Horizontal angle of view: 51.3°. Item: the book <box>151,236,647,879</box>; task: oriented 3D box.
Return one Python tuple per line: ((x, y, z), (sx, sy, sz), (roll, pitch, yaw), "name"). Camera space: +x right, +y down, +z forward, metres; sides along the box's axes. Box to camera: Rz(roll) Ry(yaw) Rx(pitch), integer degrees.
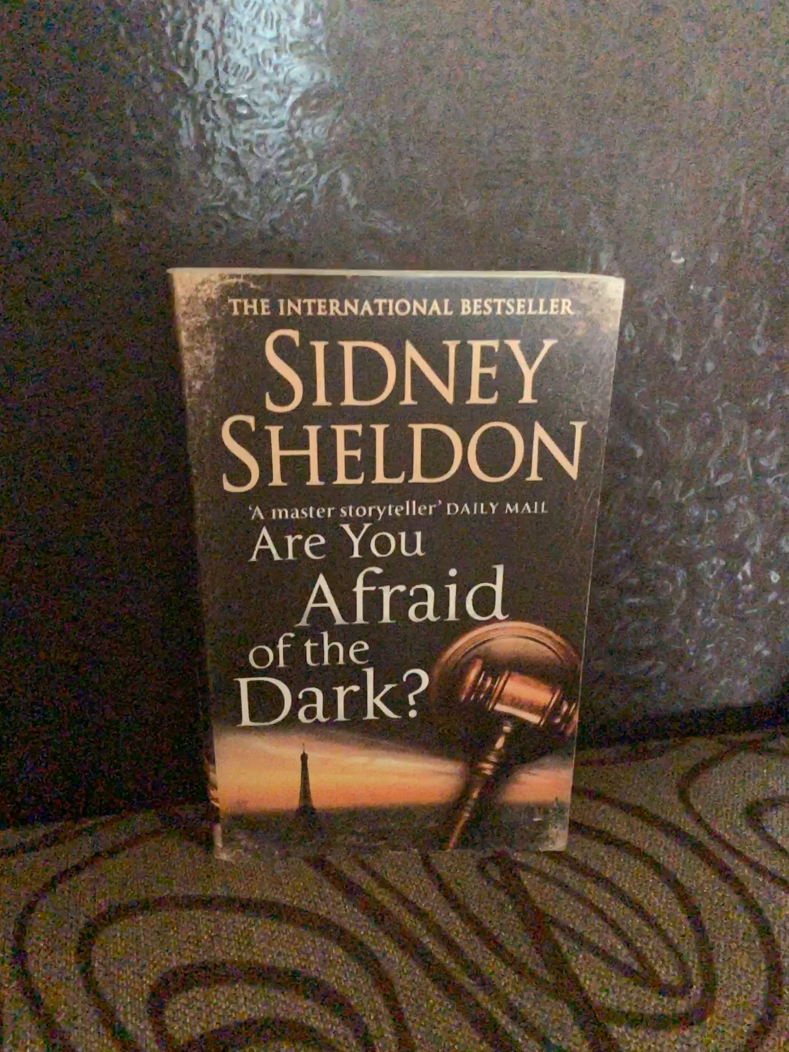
((-0.005, 0.013, 0.243), (0.120, 0.179, 0.040), (1, 18, -9), "book")
